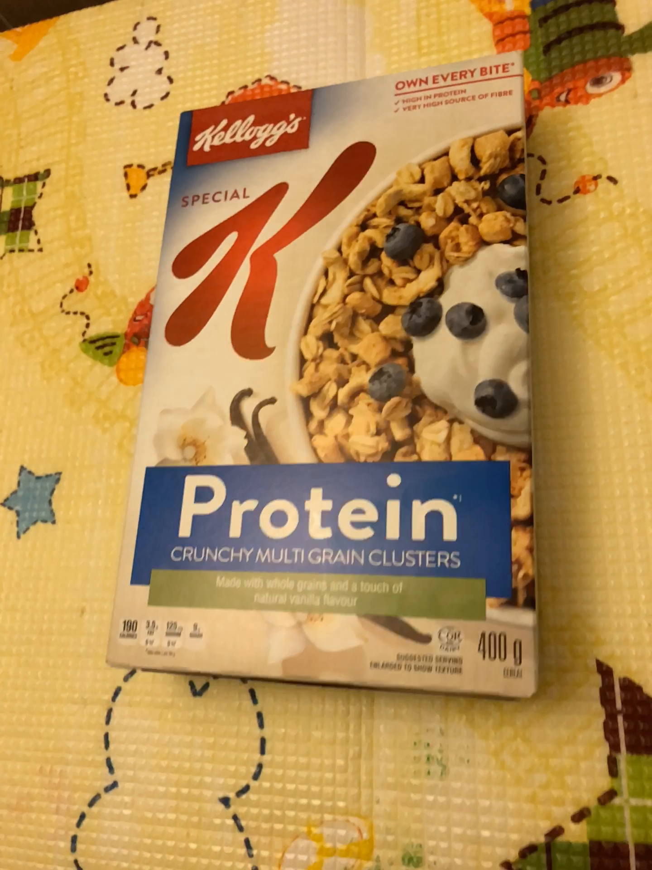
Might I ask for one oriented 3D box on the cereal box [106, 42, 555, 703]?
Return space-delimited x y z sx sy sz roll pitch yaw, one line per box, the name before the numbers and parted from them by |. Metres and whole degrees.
cereal box | 0.010 -0.029 0.308 0.160 0.060 0.250 0 76 15
